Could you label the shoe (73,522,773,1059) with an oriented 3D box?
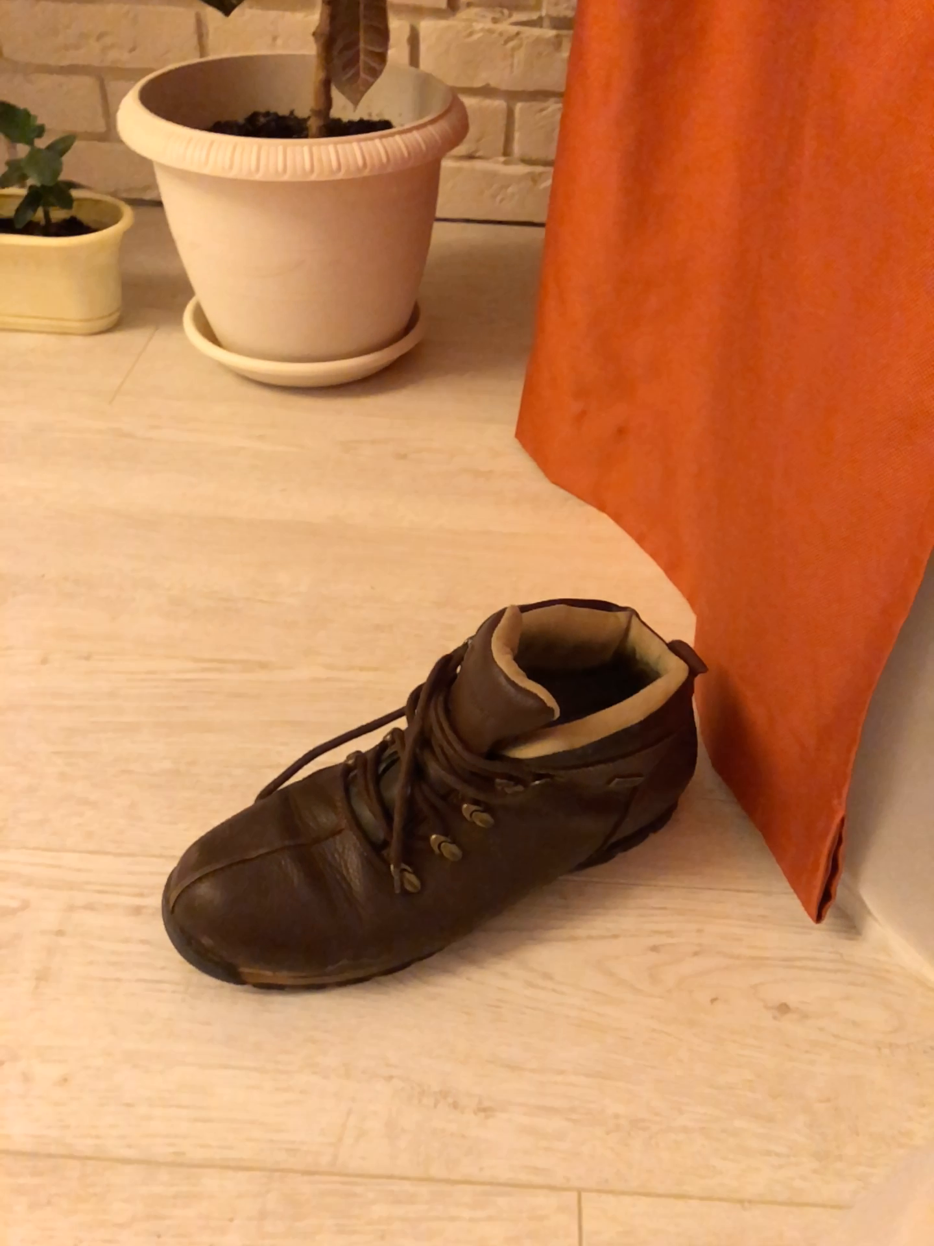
[{"bbox_3d":[-0.019,0.076,0.521,0.301,0.159,0.111,-15,45,-19],"label":"shoe"}]
